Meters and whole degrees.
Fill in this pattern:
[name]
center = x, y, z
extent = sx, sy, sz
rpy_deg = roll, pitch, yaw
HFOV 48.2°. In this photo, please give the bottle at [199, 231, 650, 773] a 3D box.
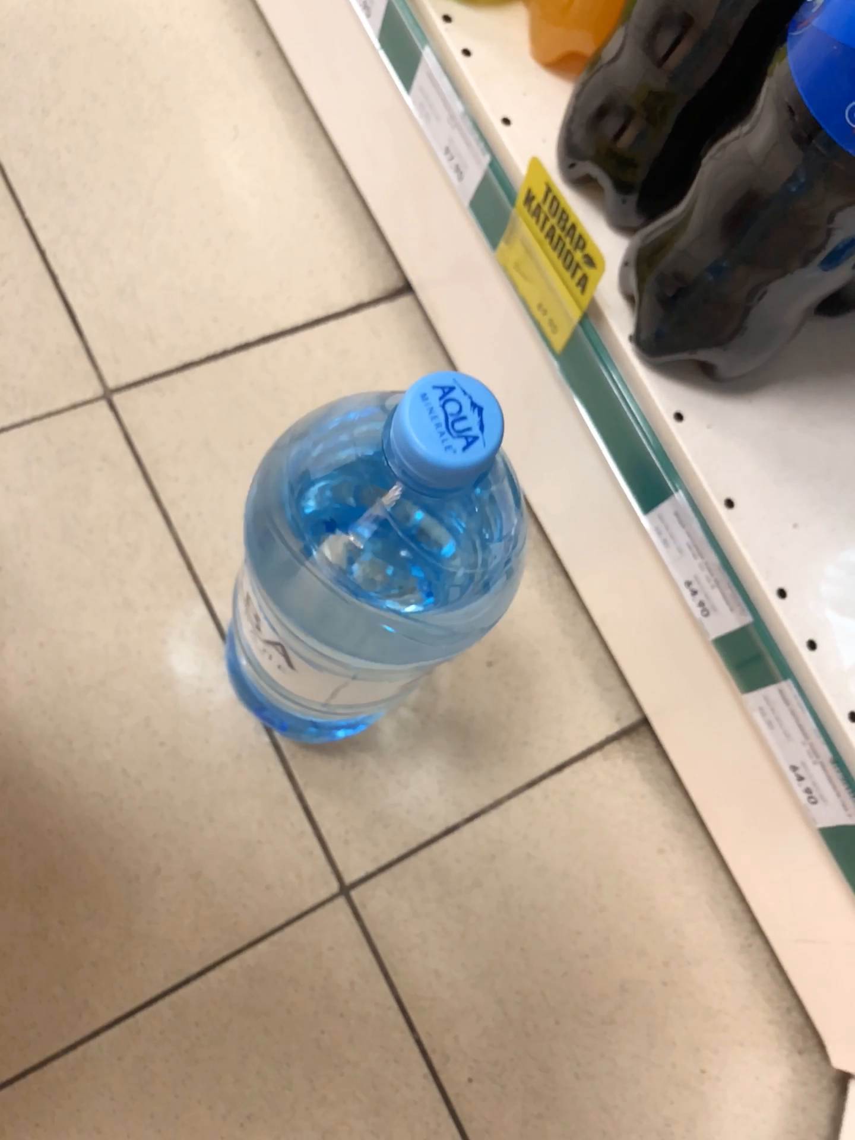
[bottle]
center = -0.036, 0.007, 0.405
extent = 0.088, 0.323, 0.105
rpy_deg = -15, 77, -18
